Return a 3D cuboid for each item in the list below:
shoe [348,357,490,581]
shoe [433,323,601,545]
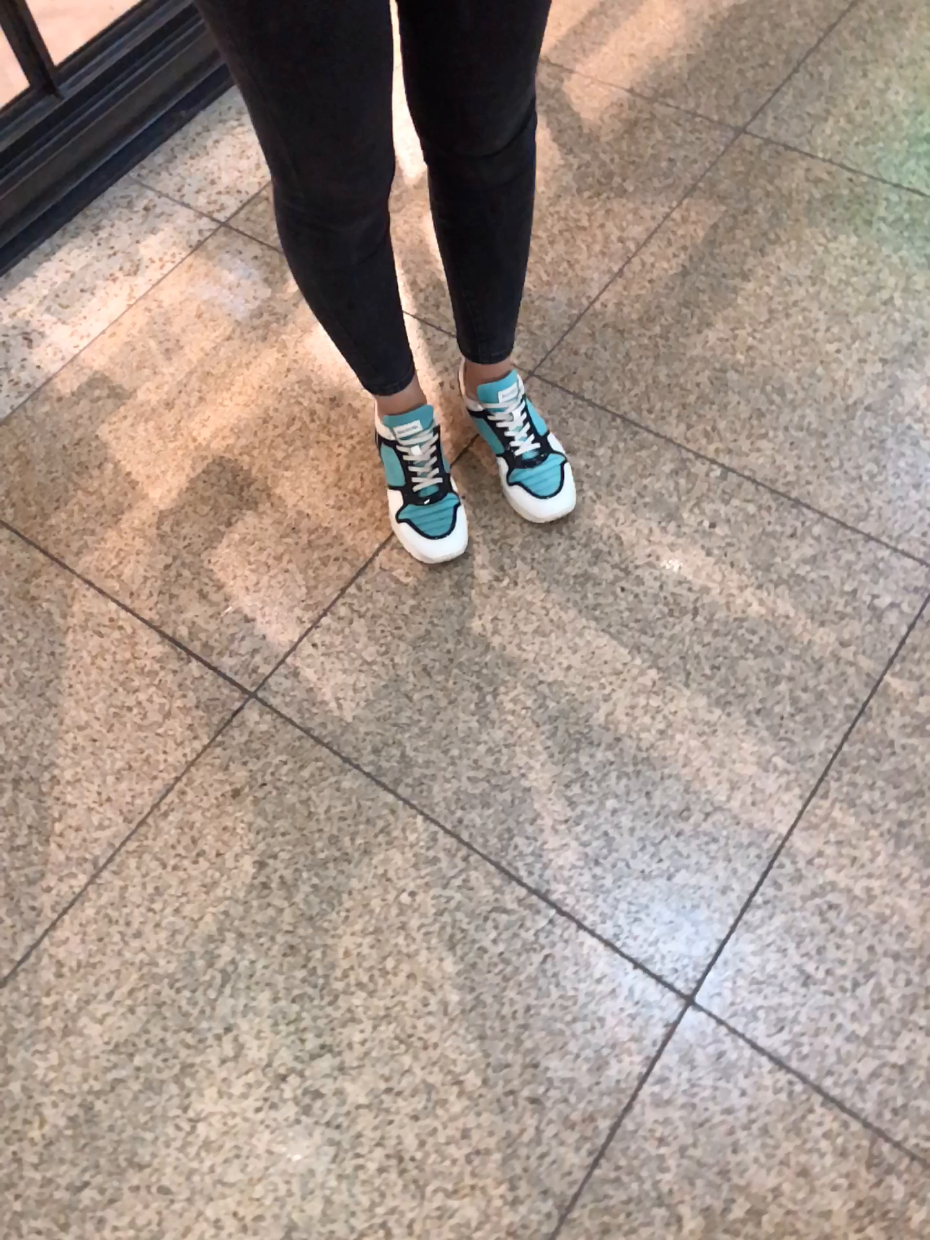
[{"bbox_3d":[-0.059,-0.191,1.282,0.100,0.120,0.240,-18,61,-4],"label":"shoe"},{"bbox_3d":[0.064,-0.236,1.283,0.100,0.120,0.240,-27,62,-9],"label":"shoe"}]
